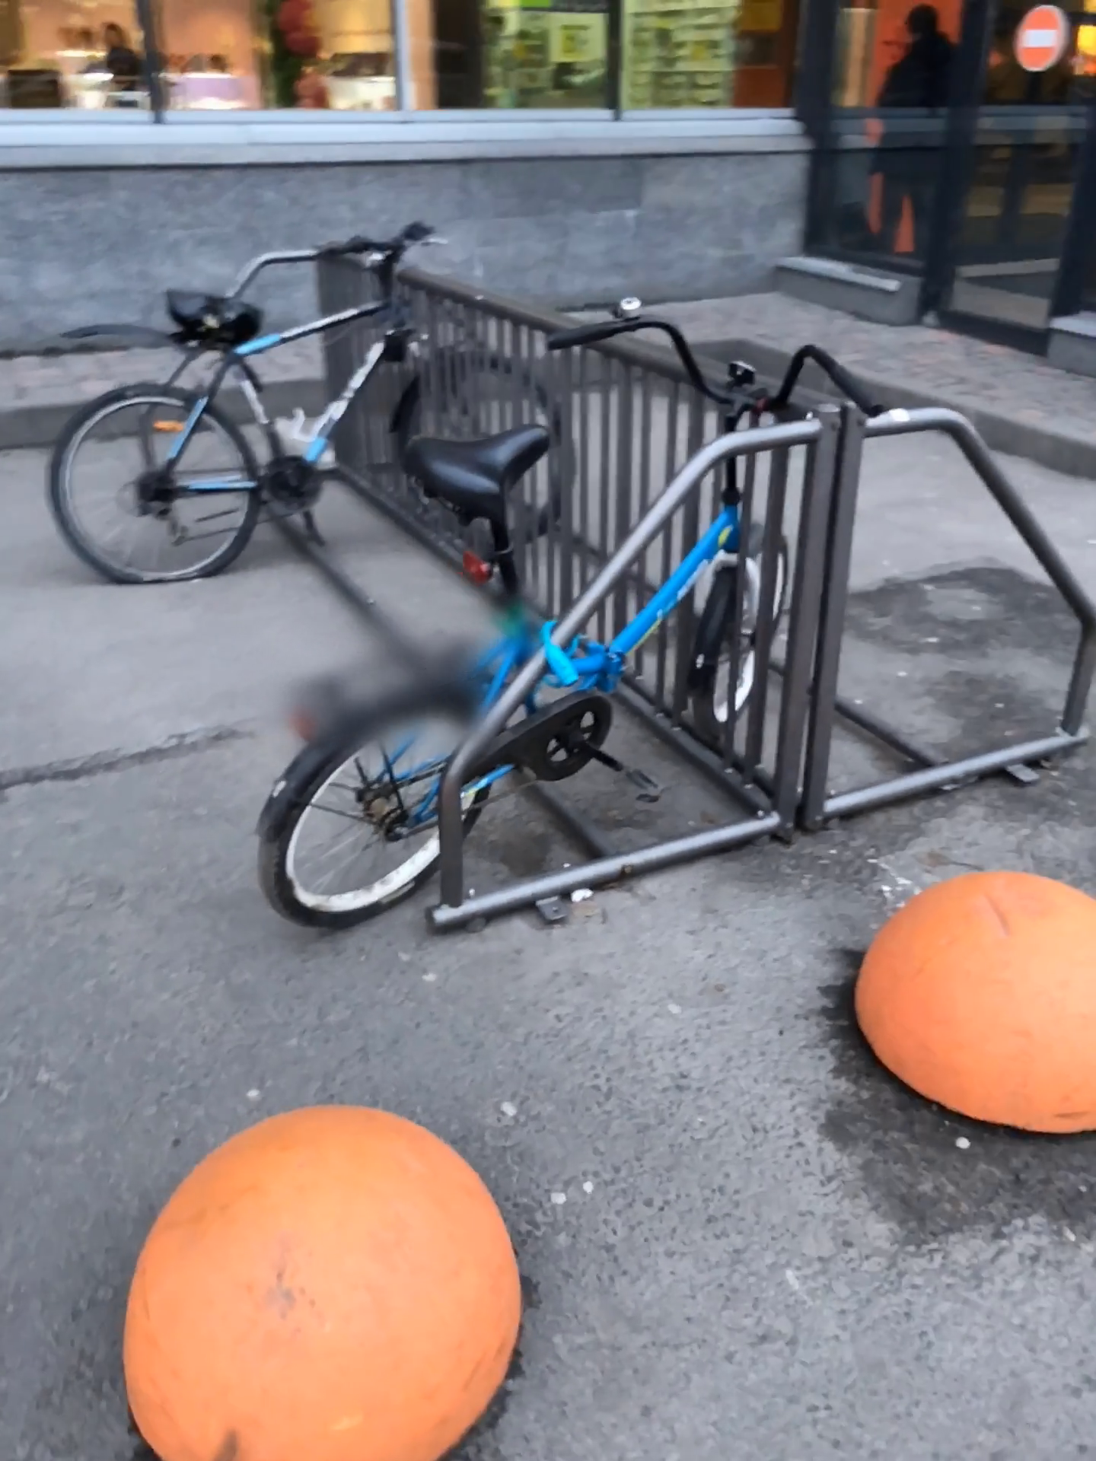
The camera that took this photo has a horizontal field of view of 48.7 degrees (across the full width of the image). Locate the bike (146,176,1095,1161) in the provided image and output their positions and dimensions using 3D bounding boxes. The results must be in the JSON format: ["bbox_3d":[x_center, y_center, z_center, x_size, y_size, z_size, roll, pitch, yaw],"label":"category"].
[{"bbox_3d":[0.187,-0.261,2.132,1.425,0.991,0.725,-30,40,-34],"label":"bike"}]
